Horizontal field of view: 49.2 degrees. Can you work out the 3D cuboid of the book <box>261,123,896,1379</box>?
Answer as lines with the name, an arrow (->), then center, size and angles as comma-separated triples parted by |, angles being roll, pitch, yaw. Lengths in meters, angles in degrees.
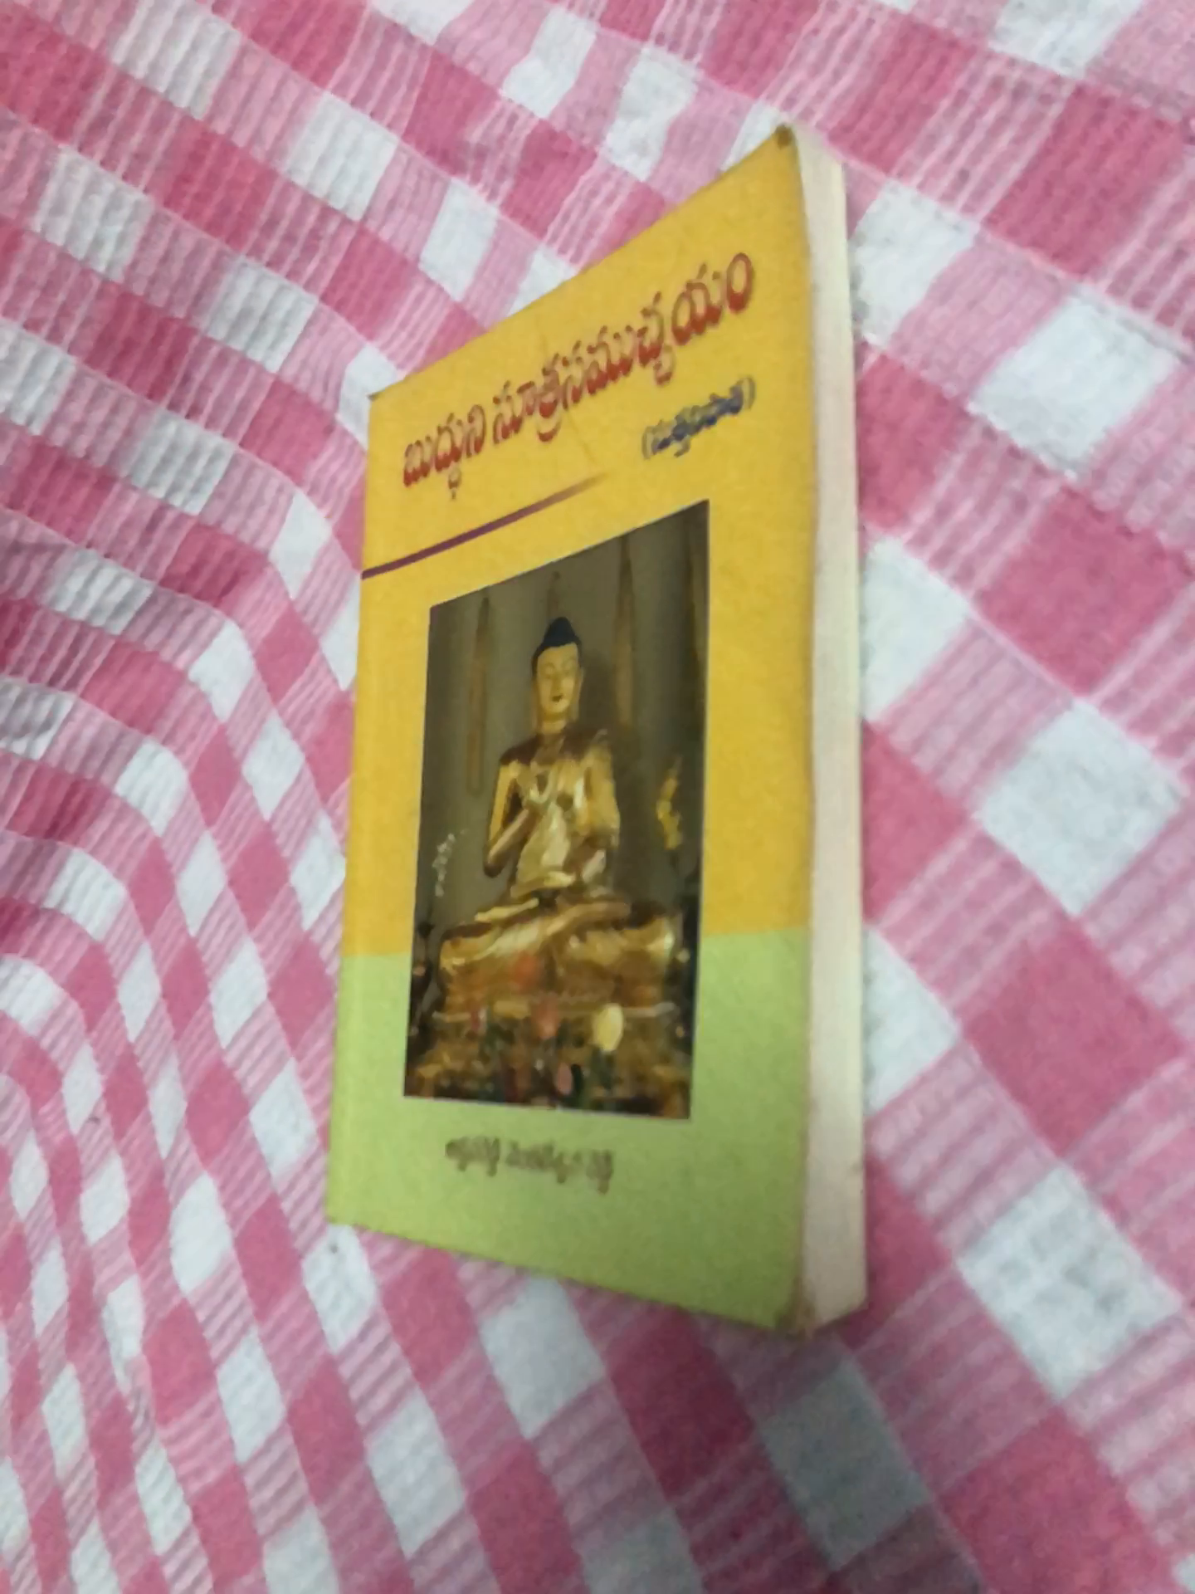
book -> -0.010, -0.006, 0.276 | 0.150, 0.030, 0.210 | -10, 73, 46
